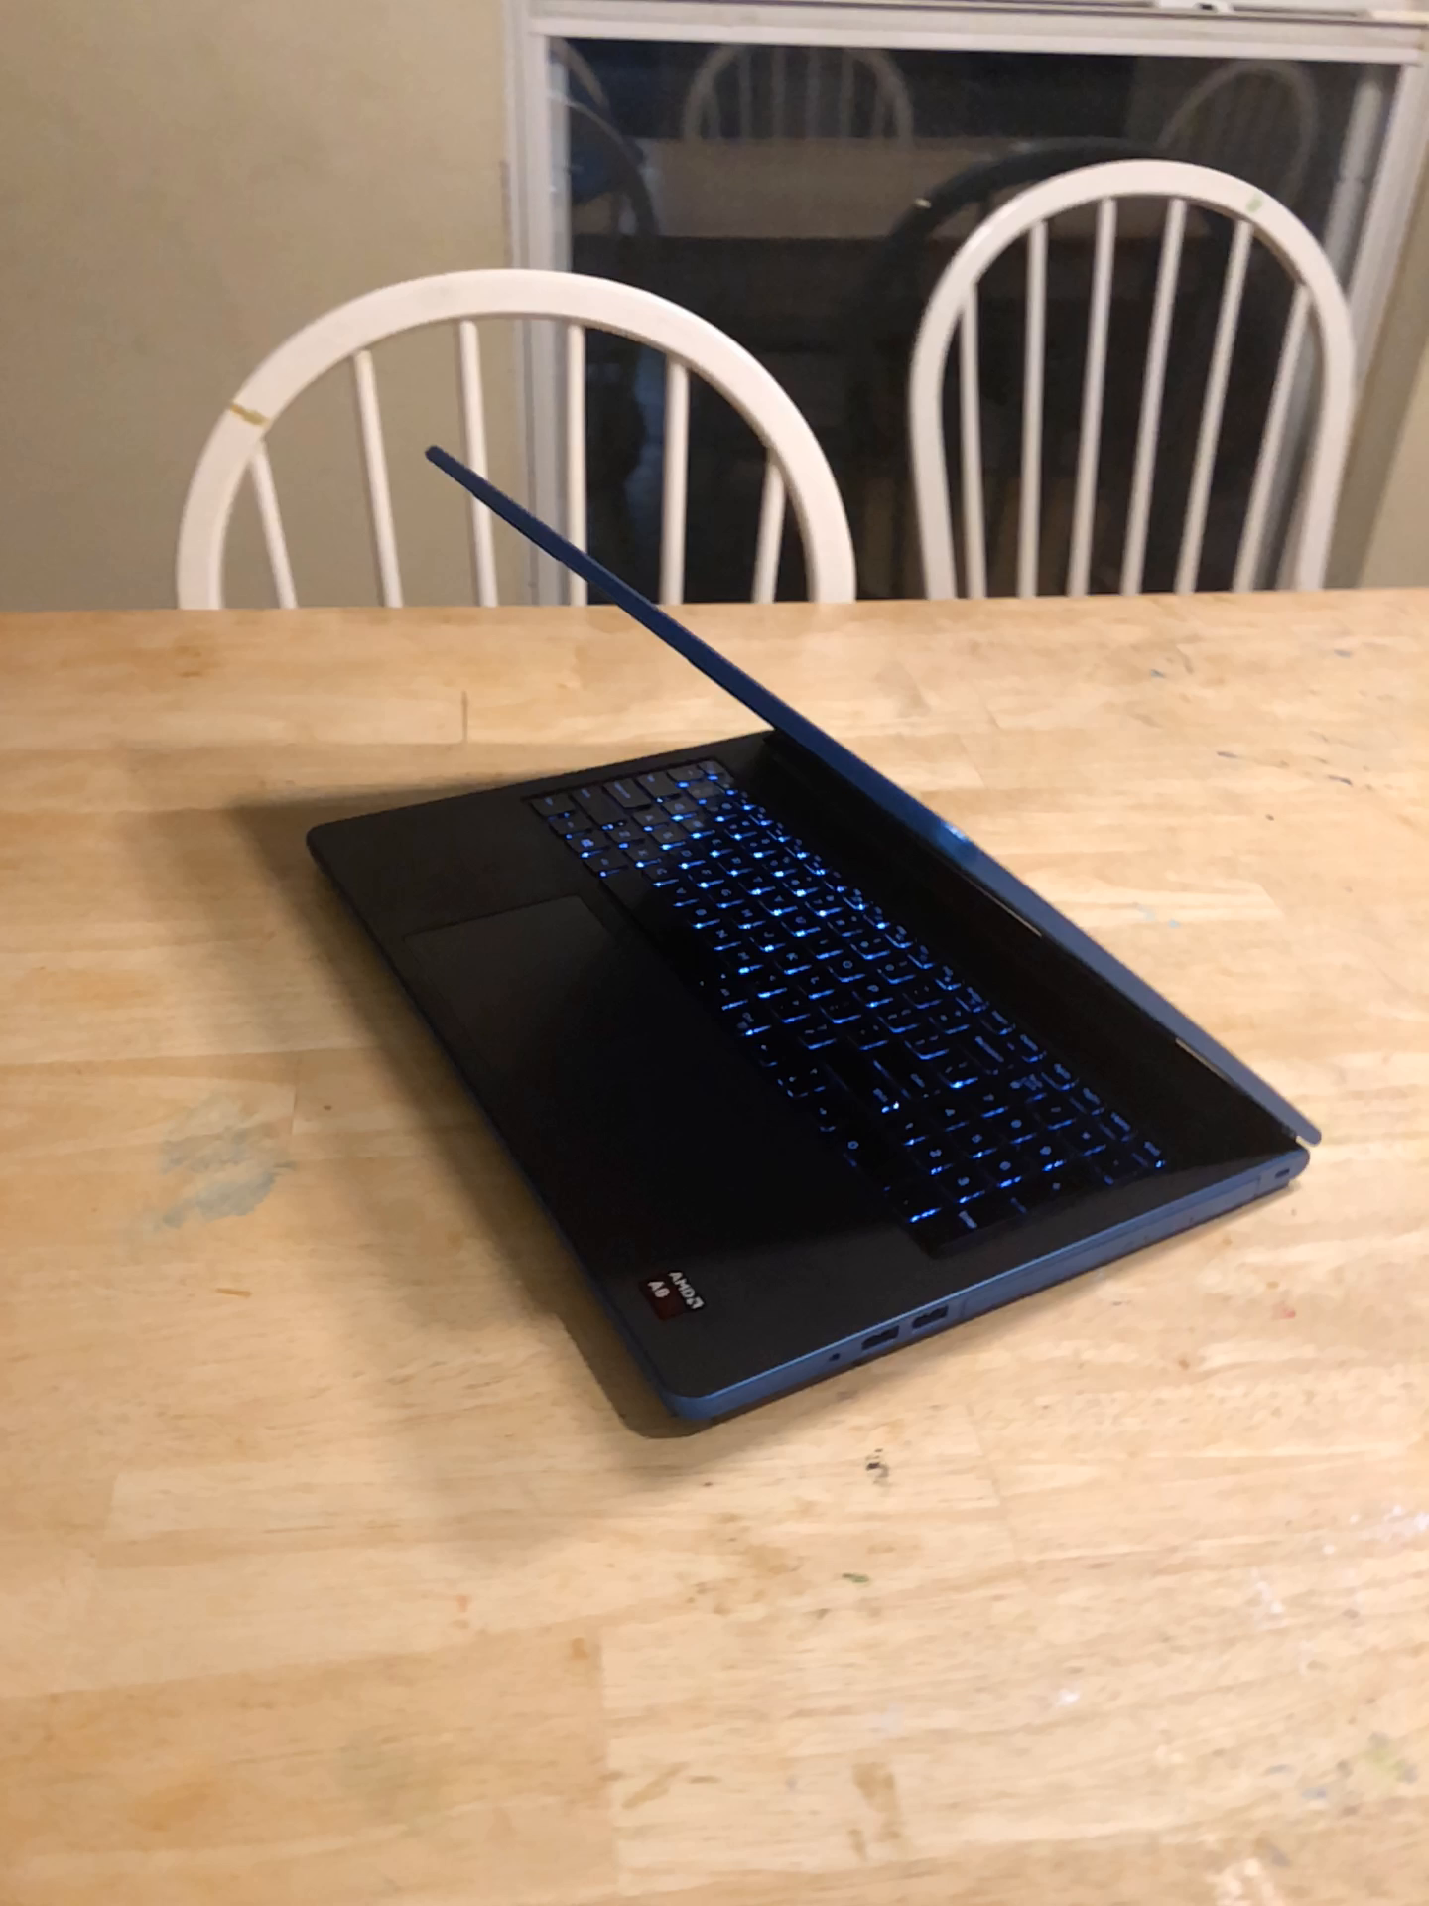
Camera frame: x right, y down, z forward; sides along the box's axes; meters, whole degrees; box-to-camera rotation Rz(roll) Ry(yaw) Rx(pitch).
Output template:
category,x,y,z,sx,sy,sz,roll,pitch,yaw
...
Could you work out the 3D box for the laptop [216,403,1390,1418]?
category,x,y,z,sx,sy,sz,roll,pitch,yaw
laptop,-0.001,-0.061,0.578,0.248,0.159,0.363,-17,38,-25
